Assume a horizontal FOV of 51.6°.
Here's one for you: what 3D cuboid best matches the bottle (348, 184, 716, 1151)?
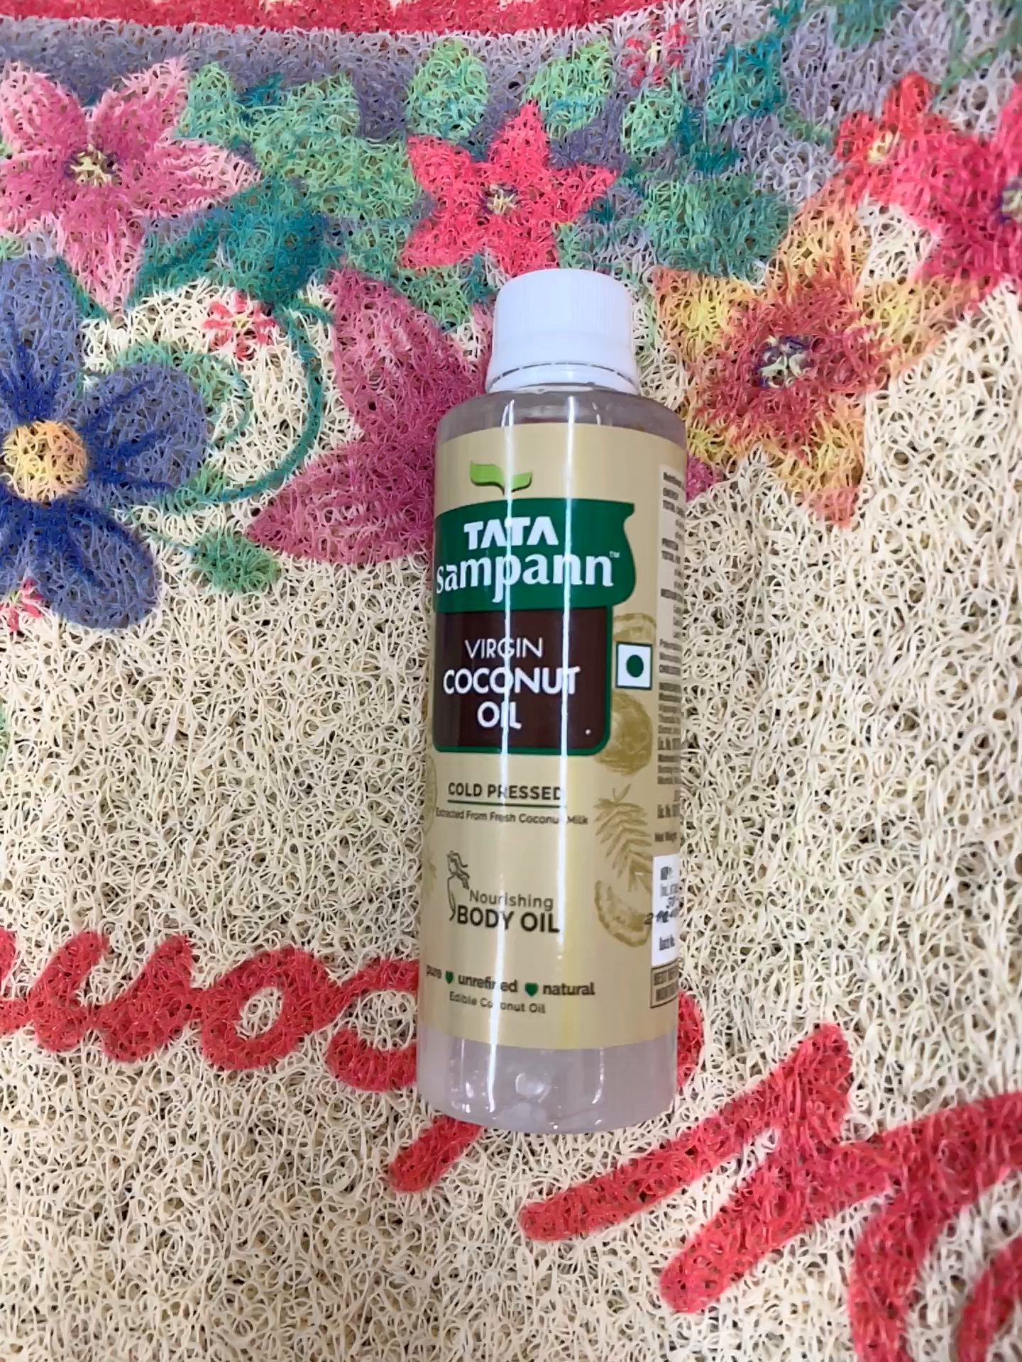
[{"bbox_3d":[0.005,-0.003,0.174,0.050,0.030,0.140,1,87,17],"label":"bottle"}]
